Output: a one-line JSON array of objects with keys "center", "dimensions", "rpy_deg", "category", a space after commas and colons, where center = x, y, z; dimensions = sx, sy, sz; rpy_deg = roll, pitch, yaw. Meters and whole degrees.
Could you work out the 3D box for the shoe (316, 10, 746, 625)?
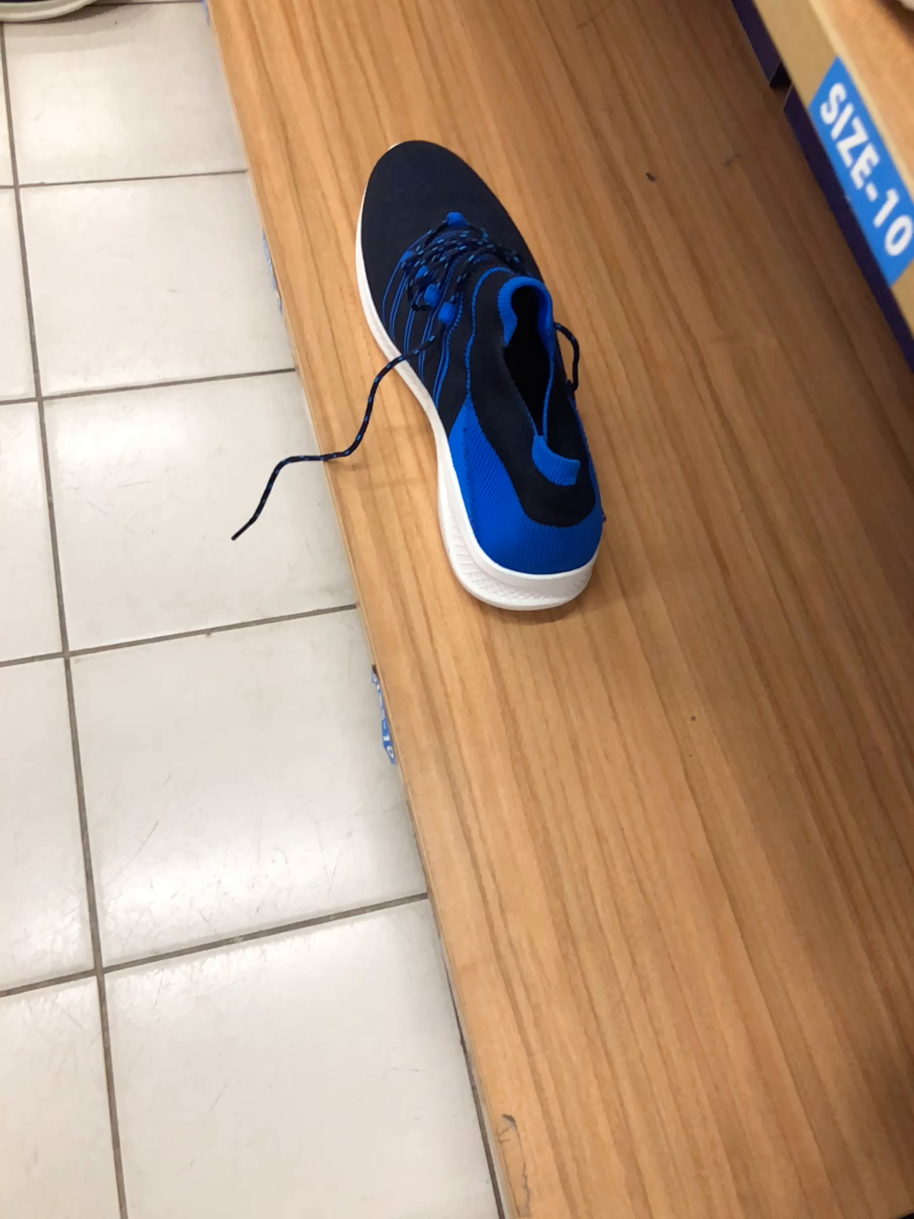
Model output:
[{"center": [0.019, -0.142, 0.485], "dimensions": [0.110, 0.110, 0.260], "rpy_deg": [-13, 70, -14], "category": "shoe"}]
